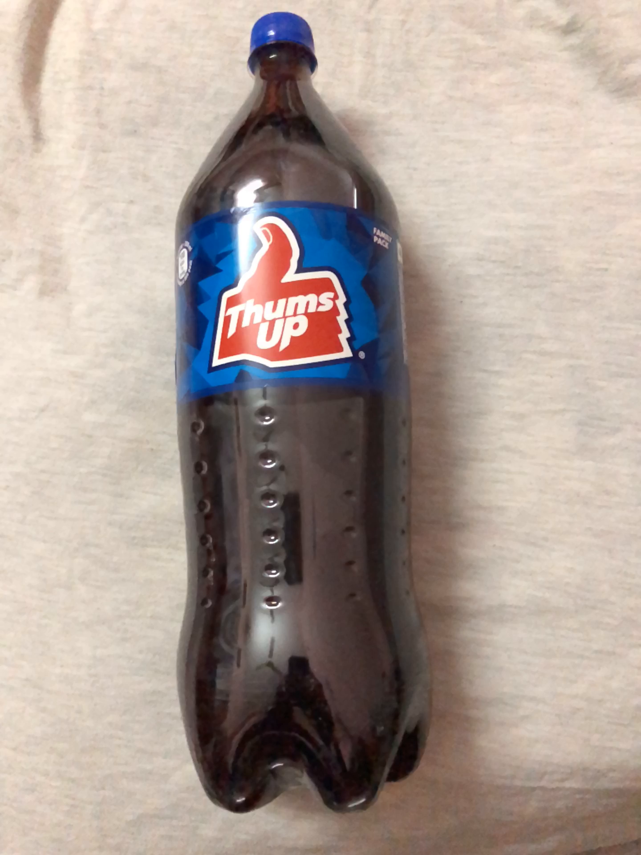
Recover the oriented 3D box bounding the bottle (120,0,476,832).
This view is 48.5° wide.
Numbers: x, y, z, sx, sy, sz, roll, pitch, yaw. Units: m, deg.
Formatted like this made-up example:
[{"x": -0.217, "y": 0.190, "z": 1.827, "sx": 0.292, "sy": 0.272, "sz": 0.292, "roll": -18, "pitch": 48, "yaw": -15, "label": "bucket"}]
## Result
[{"x": -0.011, "y": -0.028, "z": 0.258, "sx": 0.100, "sy": 0.060, "sz": 0.300, "roll": -4, "pitch": 81, "yaw": 6, "label": "bottle"}]
